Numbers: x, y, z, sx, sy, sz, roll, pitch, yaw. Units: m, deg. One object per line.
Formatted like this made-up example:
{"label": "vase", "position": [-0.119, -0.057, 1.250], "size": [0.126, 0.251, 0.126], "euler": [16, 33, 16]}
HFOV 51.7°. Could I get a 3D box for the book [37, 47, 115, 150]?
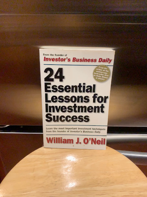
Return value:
{"label": "book", "position": [0.004, 0.006, 0.341], "size": [0.150, 0.229, 0.030], "euler": [1, 18, 3]}
